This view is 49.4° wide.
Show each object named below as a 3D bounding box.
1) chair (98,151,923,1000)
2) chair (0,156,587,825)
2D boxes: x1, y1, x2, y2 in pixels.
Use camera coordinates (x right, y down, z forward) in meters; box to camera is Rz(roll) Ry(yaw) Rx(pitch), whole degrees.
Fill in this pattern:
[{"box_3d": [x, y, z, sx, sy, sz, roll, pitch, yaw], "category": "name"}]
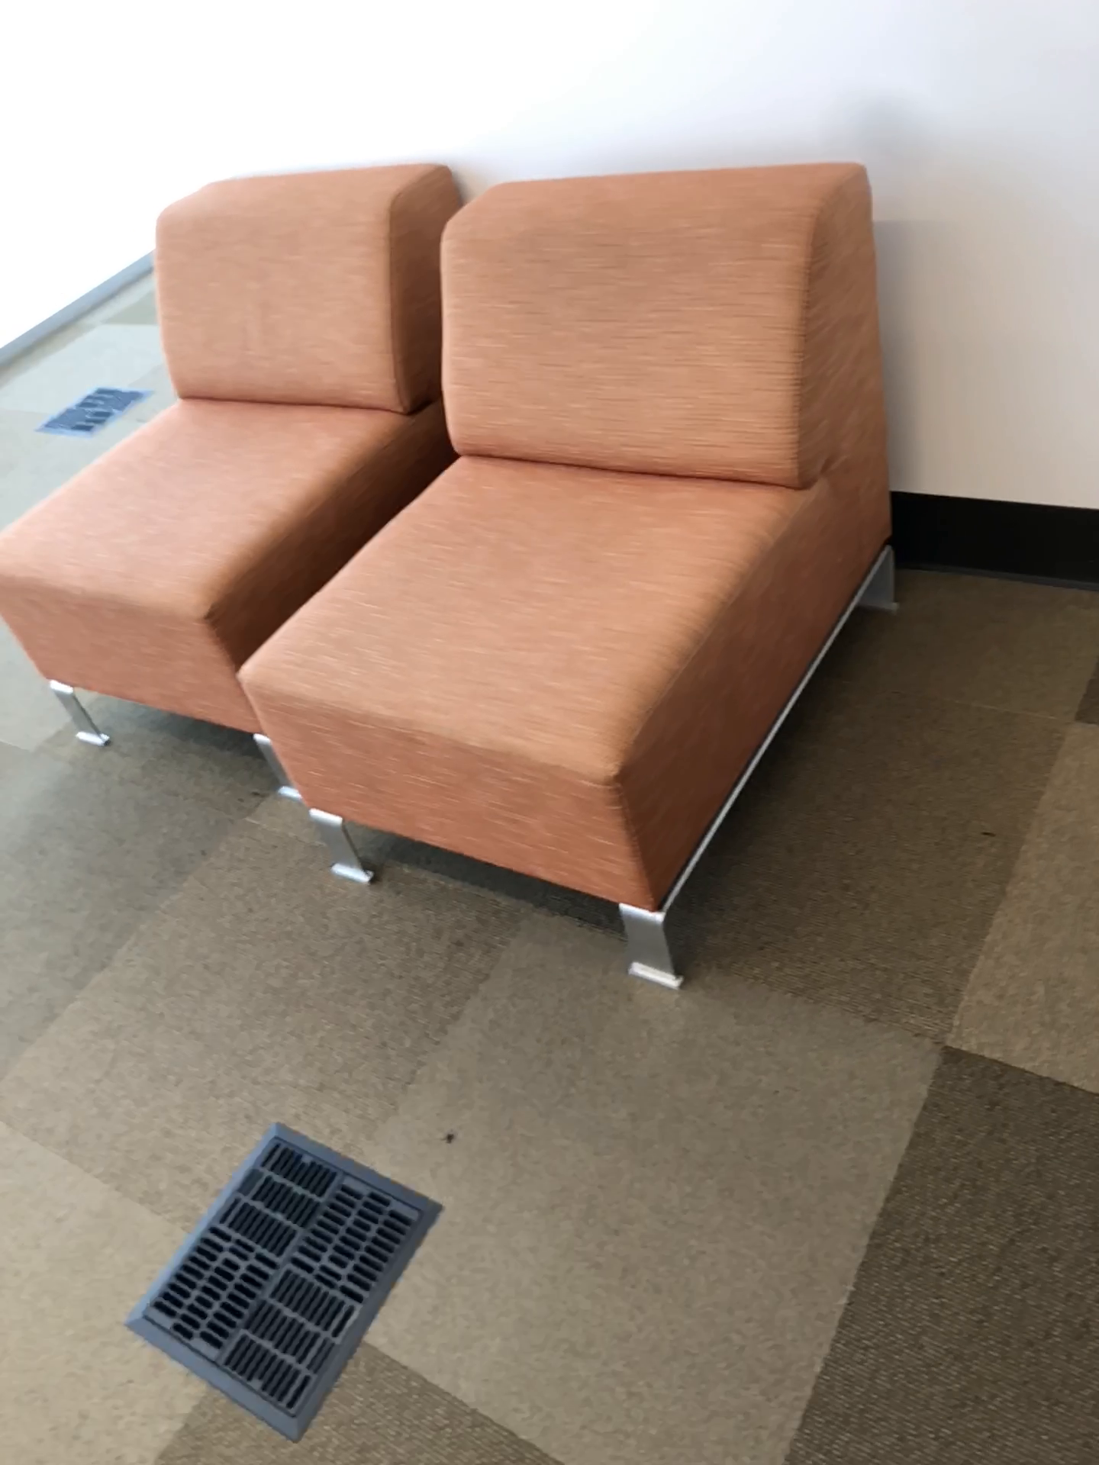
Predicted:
[{"box_3d": [0.049, -0.288, 1.804, 0.696, 0.759, 0.924, 13, 48, 32], "category": "chair"}, {"box_3d": [-0.563, -0.508, 2.338, 0.766, 0.809, 0.934, 12, 47, 32], "category": "chair"}]
